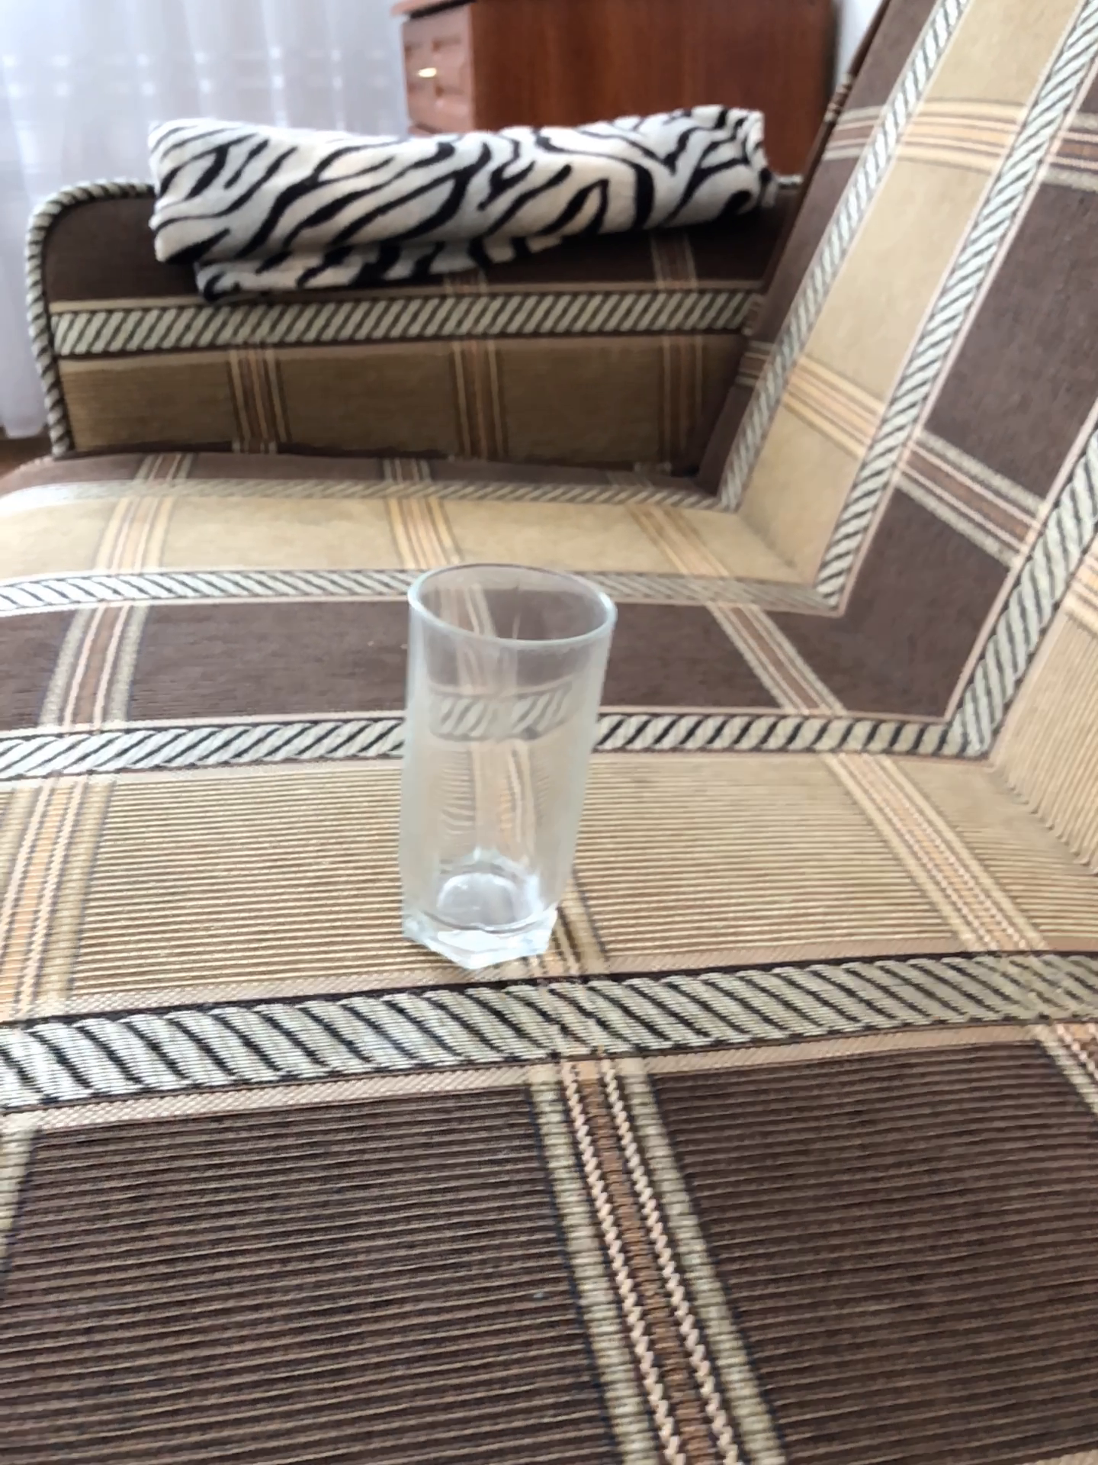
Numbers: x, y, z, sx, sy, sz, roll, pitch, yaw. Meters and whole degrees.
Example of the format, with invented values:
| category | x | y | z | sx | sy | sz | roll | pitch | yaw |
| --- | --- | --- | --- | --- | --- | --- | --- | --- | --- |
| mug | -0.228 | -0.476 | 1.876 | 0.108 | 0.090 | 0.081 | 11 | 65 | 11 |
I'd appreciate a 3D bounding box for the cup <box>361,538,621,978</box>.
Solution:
| category | x | y | z | sx | sy | sz | roll | pitch | yaw |
| --- | --- | --- | --- | --- | --- | --- | --- | --- | --- |
| cup | -0.022 | 0.009 | 0.438 | 0.075 | 0.130 | 0.077 | 6 | 28 | -3 |
